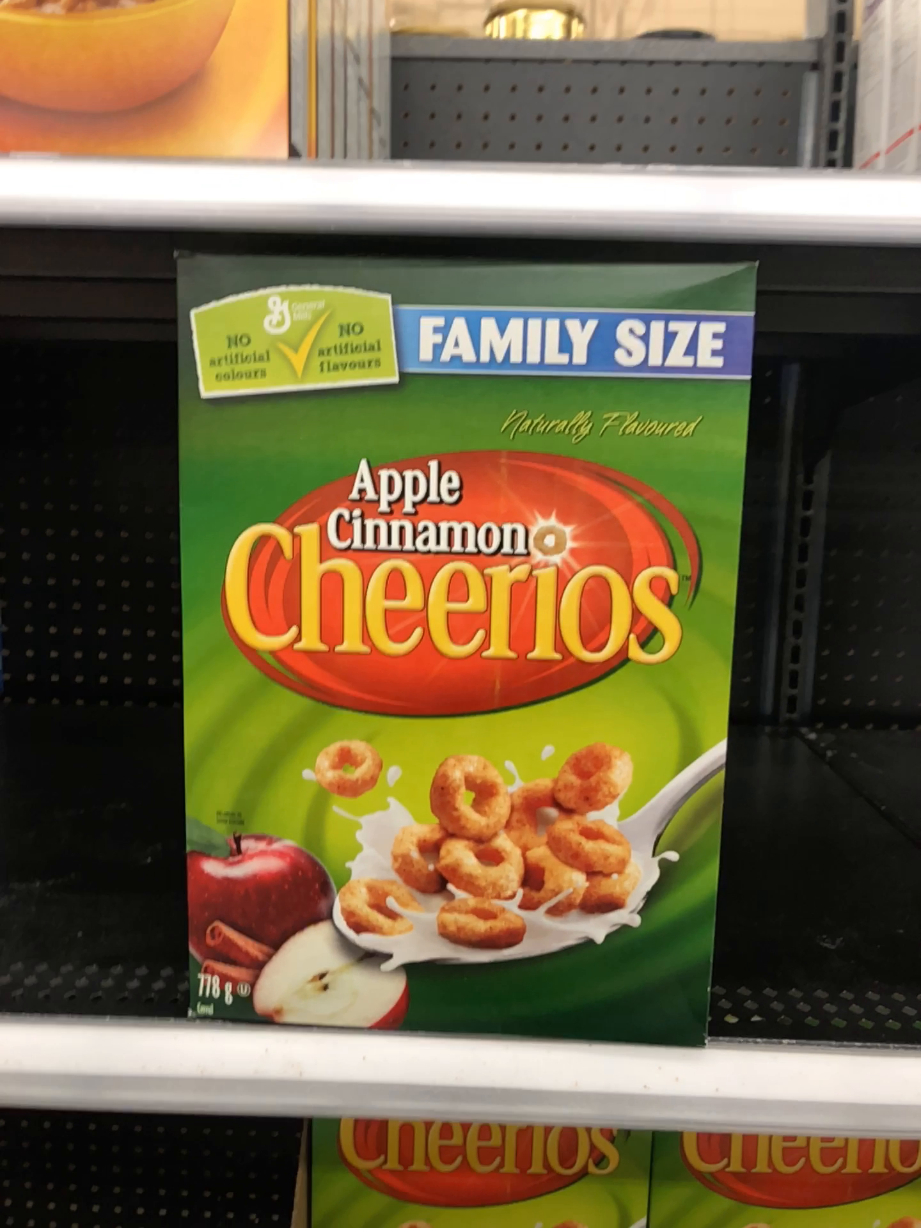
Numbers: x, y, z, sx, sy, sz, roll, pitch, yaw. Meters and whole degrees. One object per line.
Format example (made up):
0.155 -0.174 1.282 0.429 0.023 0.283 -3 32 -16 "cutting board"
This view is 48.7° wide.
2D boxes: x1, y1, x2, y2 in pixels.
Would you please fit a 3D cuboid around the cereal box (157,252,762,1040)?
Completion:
-0.003 0.014 0.467 0.240 0.329 0.080 2 9 3 "cereal box"
